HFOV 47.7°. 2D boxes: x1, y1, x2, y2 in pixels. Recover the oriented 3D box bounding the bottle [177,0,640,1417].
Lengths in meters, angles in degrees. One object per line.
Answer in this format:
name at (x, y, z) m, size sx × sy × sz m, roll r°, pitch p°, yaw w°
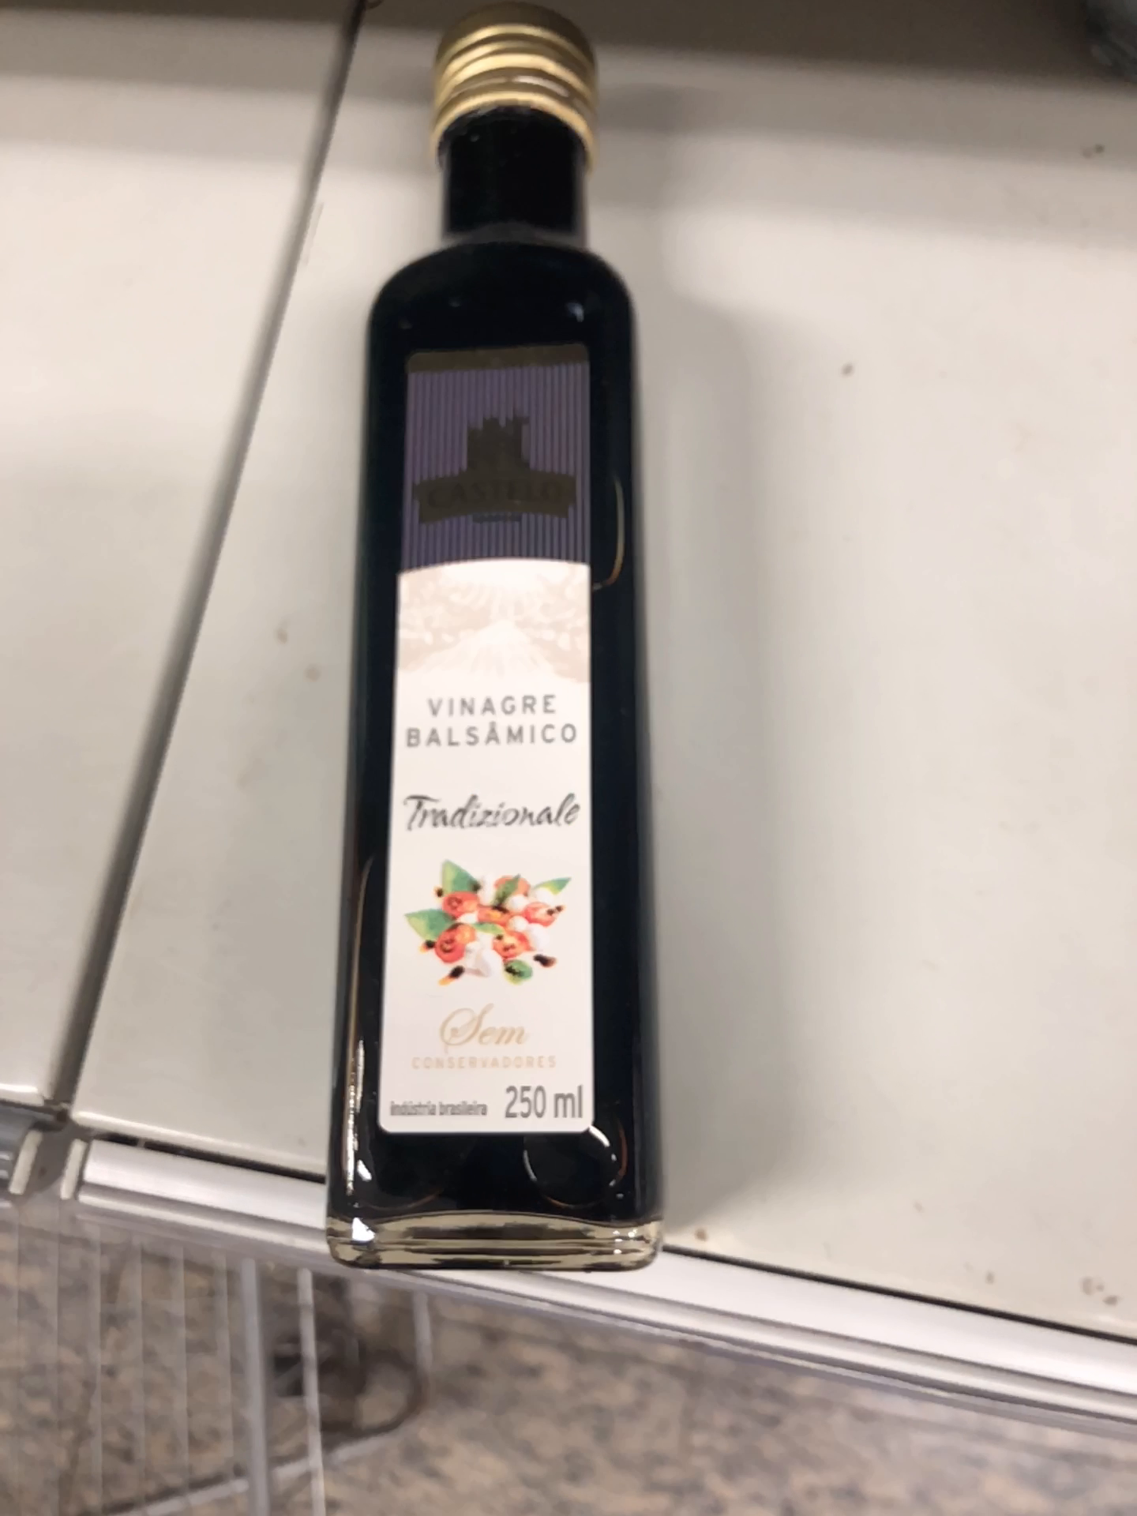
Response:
bottle at (-0.018, -0.030, 0.225) m, size 0.060 × 0.060 × 0.250 m, roll 0°, pitch 76°, yaw 4°
